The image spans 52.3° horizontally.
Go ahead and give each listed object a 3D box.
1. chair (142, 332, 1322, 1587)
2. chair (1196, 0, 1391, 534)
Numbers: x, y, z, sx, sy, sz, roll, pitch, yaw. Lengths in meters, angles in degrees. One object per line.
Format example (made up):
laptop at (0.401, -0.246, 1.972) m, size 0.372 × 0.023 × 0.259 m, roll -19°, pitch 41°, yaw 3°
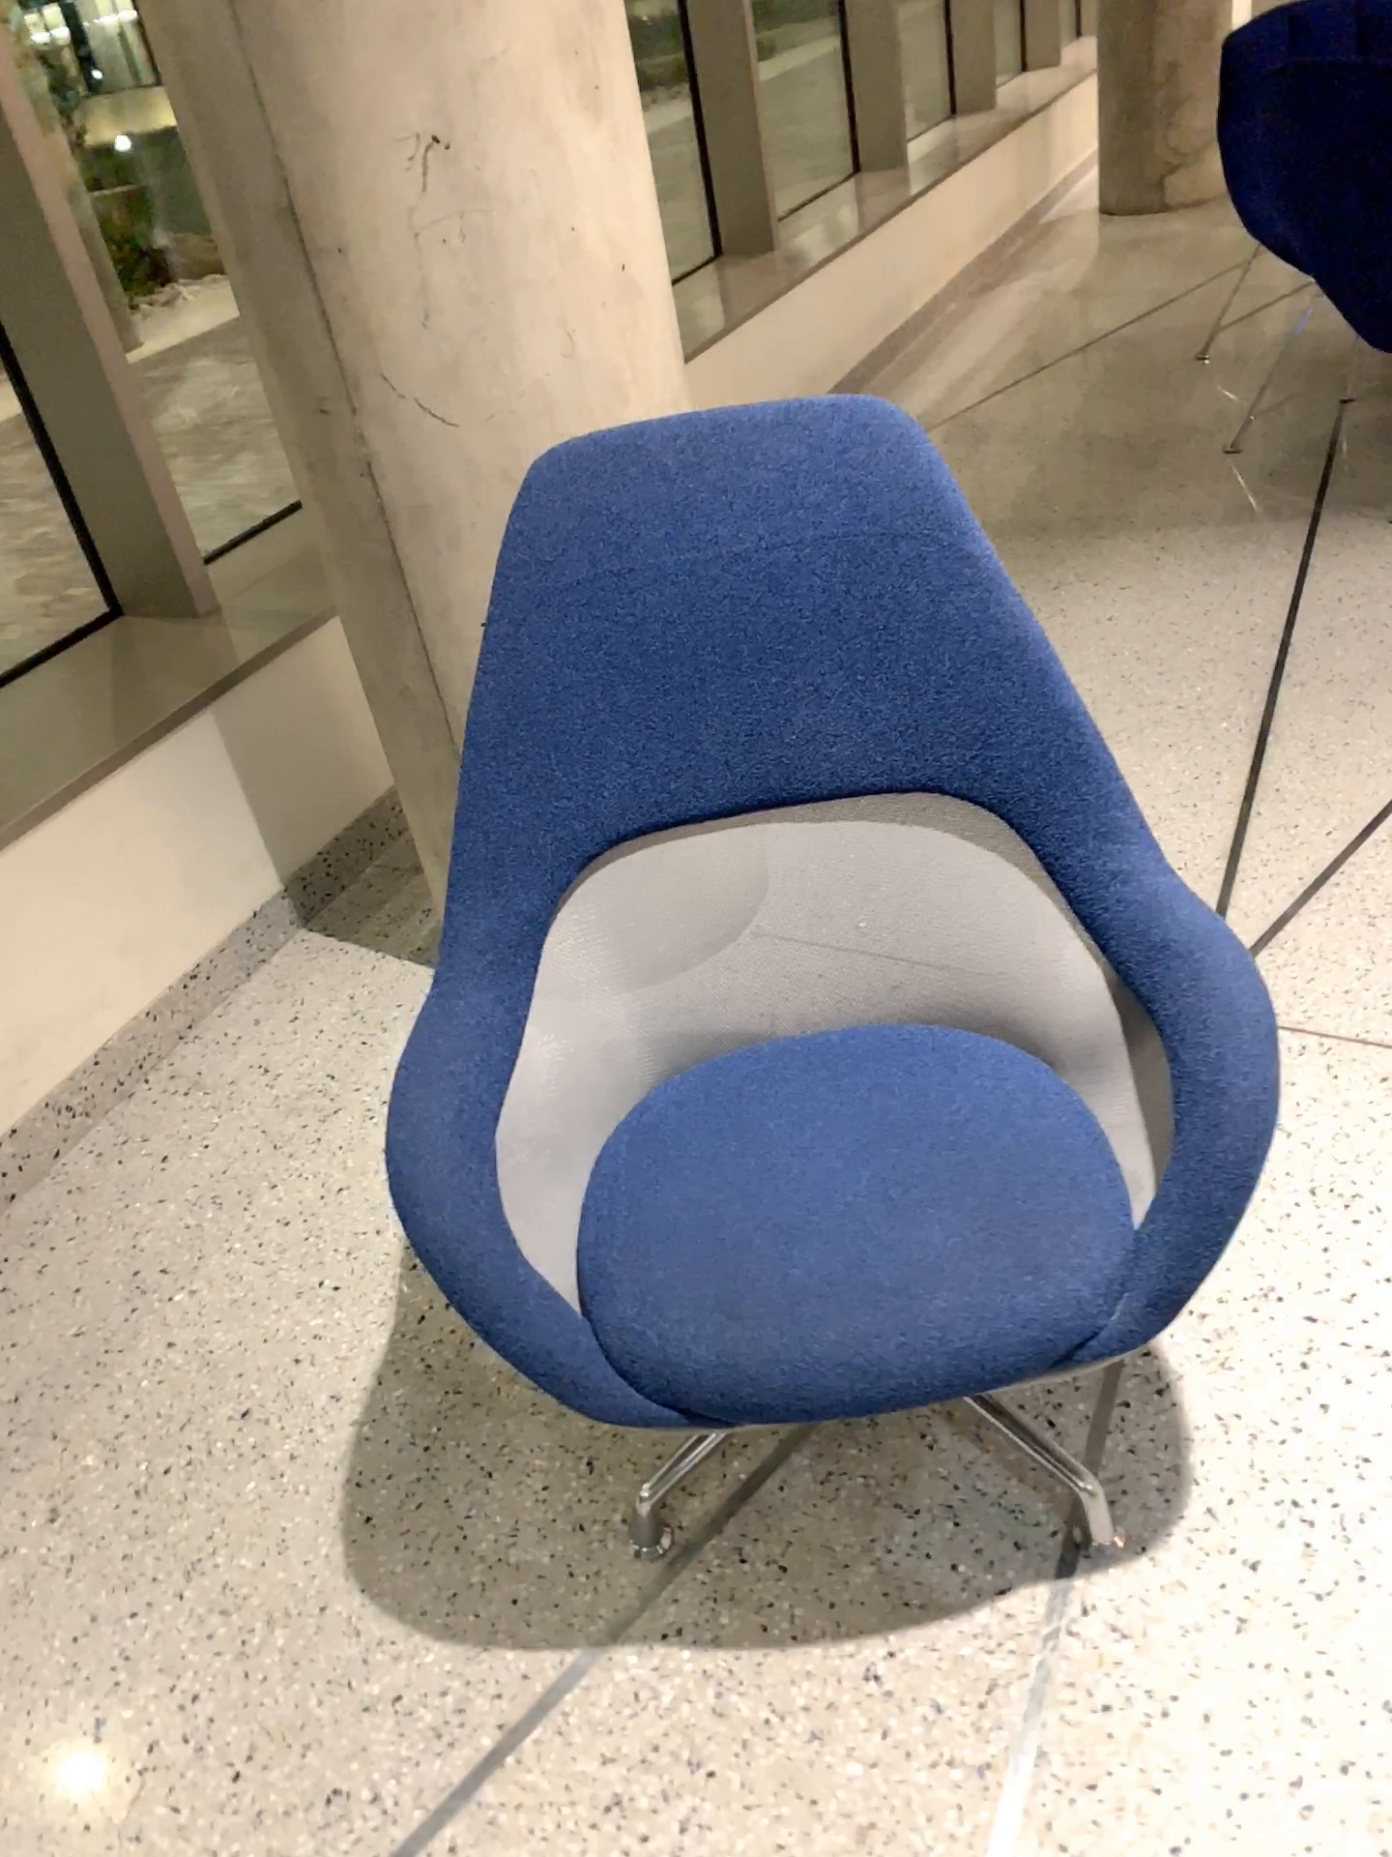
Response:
chair at (0.102, 0.056, 1.373) m, size 0.715 × 0.961 × 0.640 m, roll -5°, pitch 34°, yaw 9°
chair at (1.572, -1.430, 3.008) m, size 0.694 × 0.853 × 0.684 m, roll -15°, pitch 34°, yaw -6°
